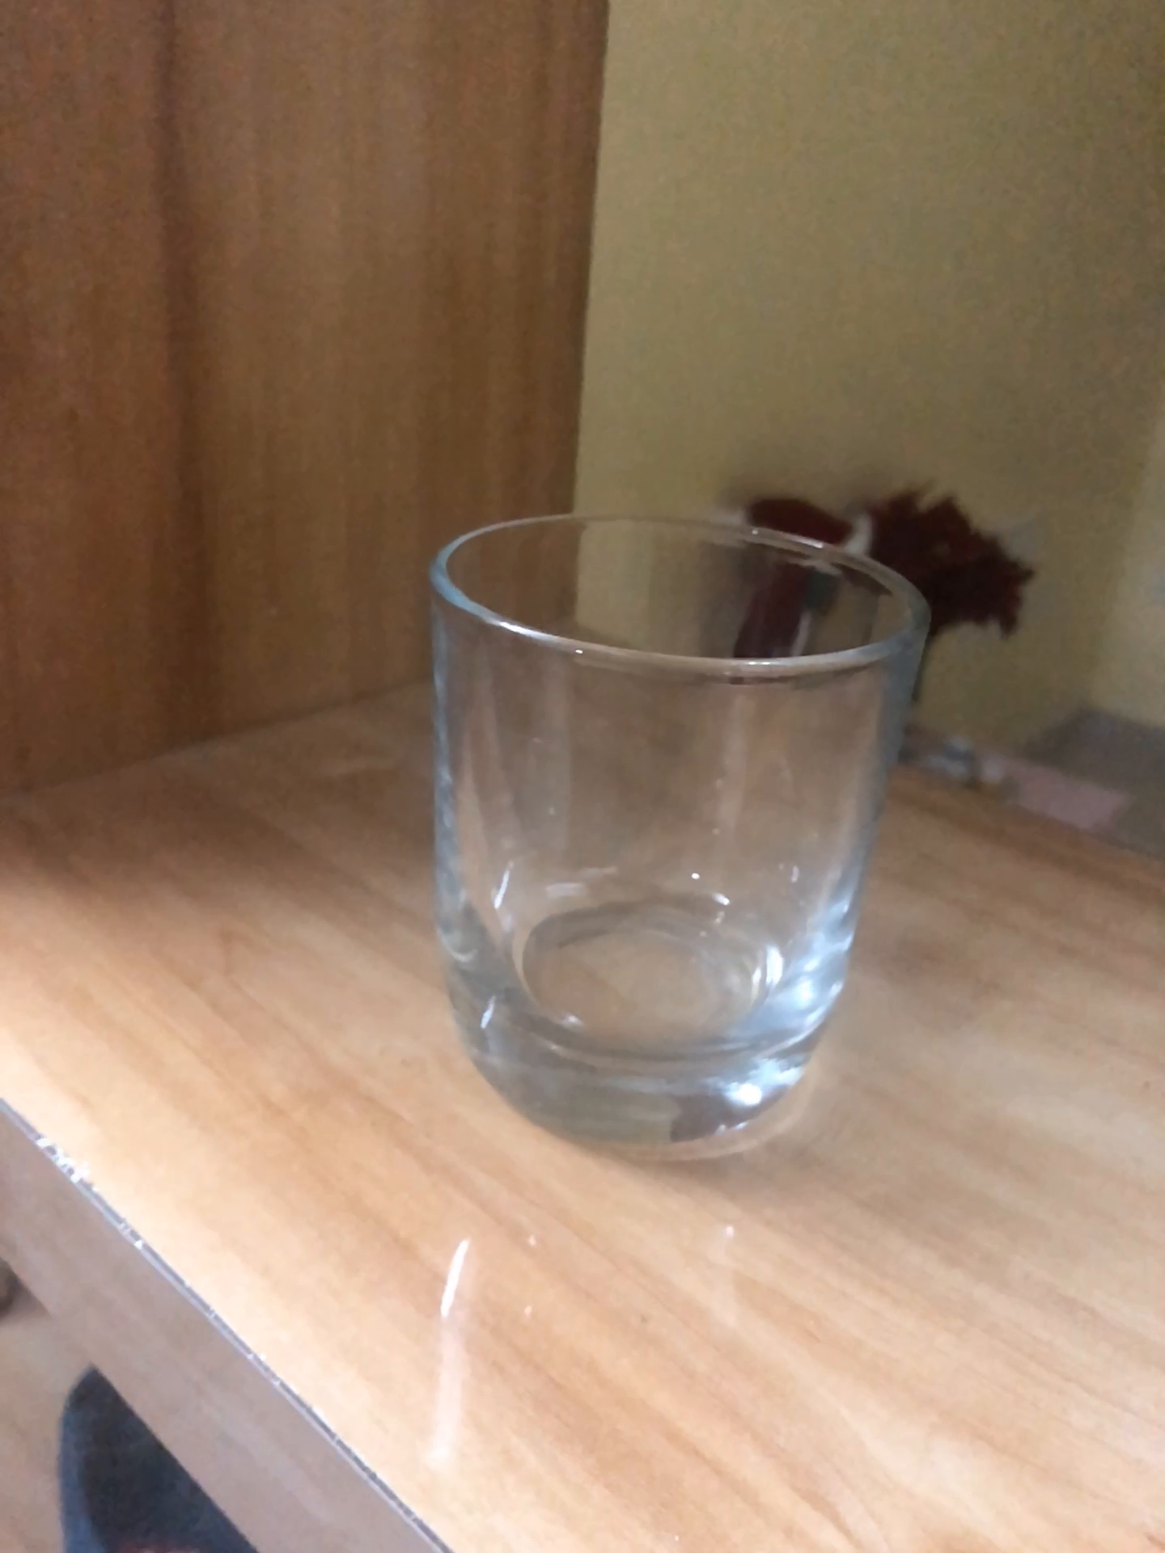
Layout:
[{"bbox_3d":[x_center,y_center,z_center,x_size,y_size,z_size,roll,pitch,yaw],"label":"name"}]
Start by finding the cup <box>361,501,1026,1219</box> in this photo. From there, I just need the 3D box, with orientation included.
[{"bbox_3d":[0.010,0.006,0.240,0.080,0.090,0.090,-7,27,-22],"label":"cup"}]
